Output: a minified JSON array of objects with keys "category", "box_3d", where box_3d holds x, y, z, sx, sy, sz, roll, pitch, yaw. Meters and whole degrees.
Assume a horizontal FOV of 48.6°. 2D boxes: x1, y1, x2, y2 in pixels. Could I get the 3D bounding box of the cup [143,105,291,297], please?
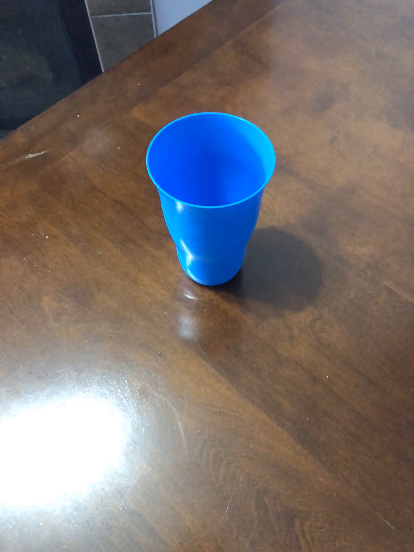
[{"category":"cup","box_3d":[0.007,-0.058,0.392,0.100,0.130,0.100,0,60,0]}]
